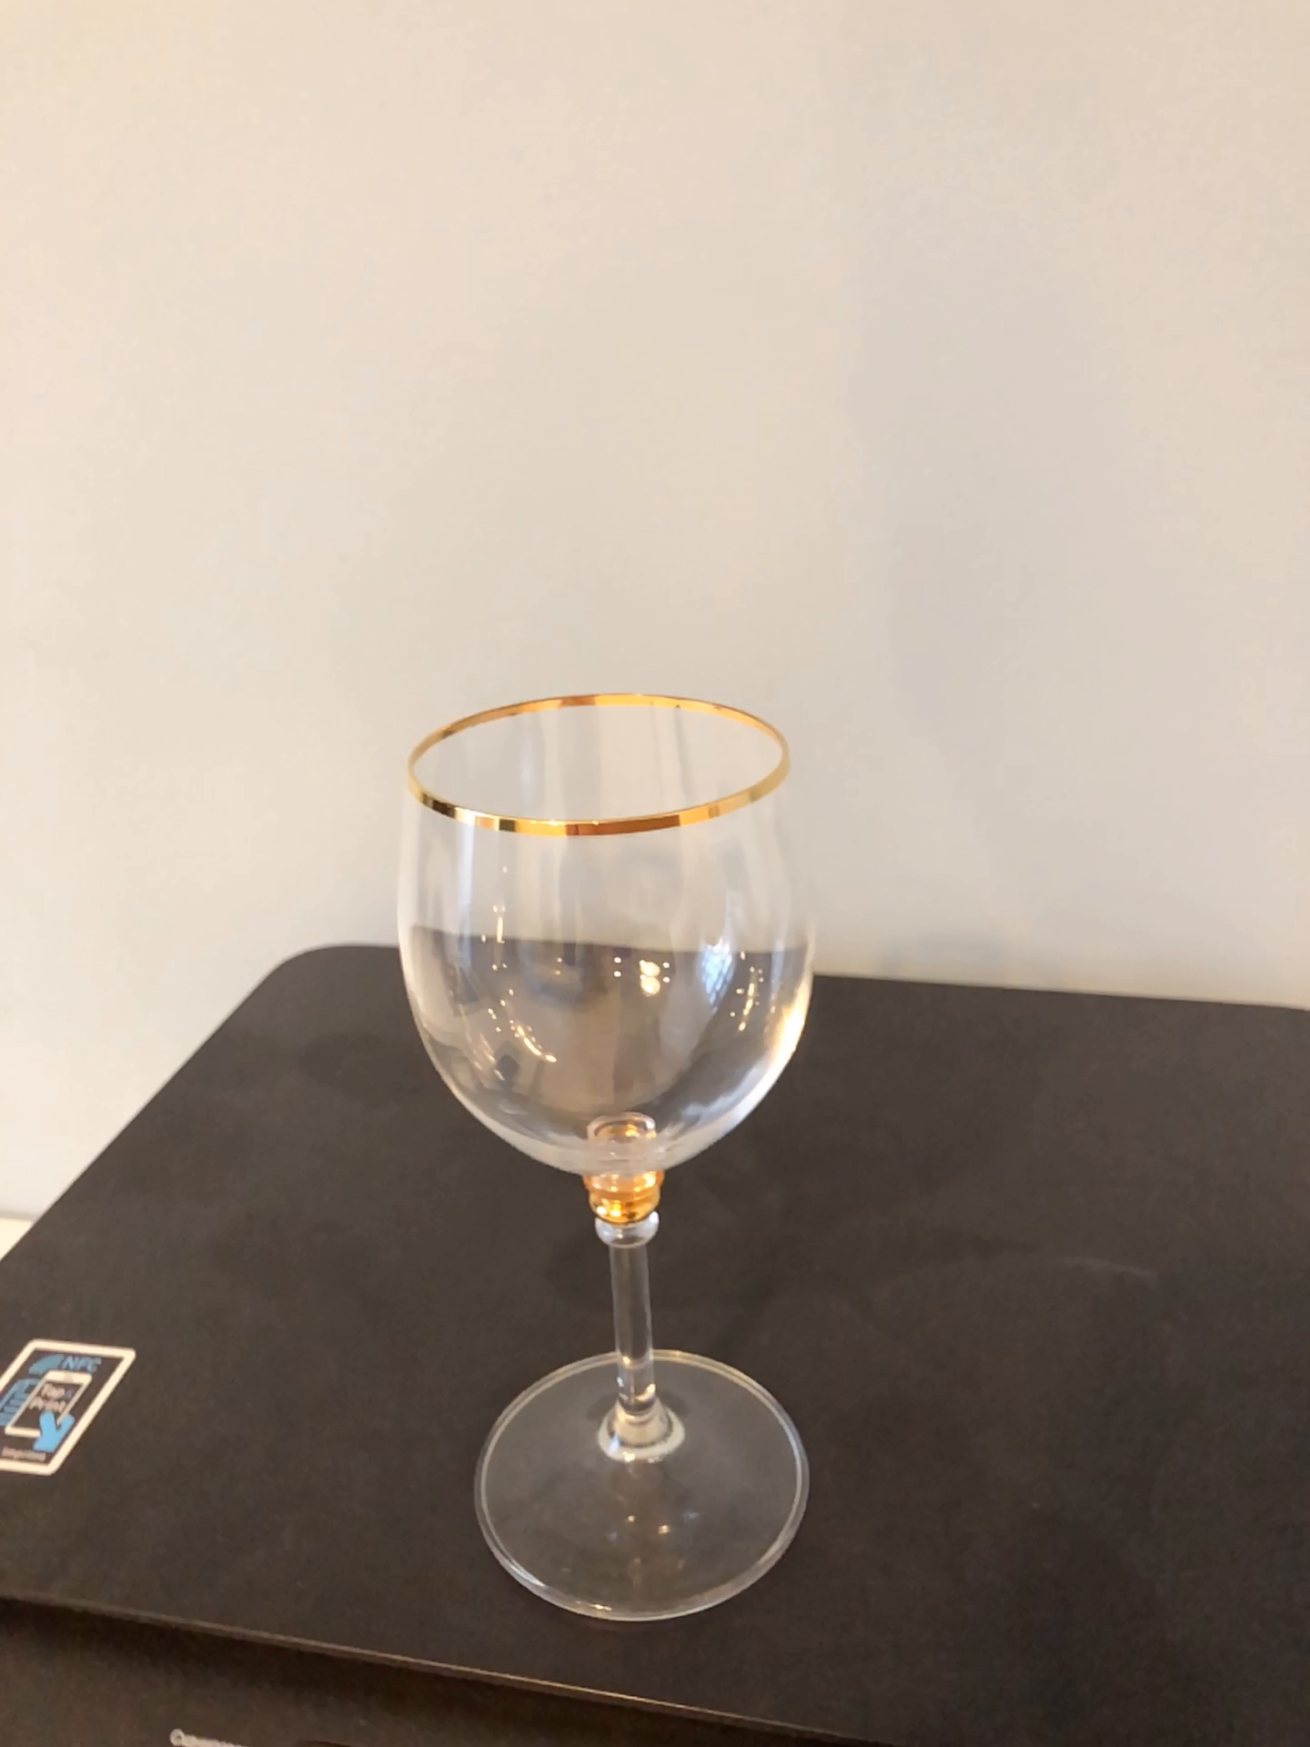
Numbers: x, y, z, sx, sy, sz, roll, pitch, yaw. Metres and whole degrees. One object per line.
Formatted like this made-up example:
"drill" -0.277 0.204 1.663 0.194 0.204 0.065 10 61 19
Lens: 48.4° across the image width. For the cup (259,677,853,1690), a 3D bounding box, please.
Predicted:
"cup" -0.010 0.059 0.303 0.086 0.177 0.087 -2 22 1
